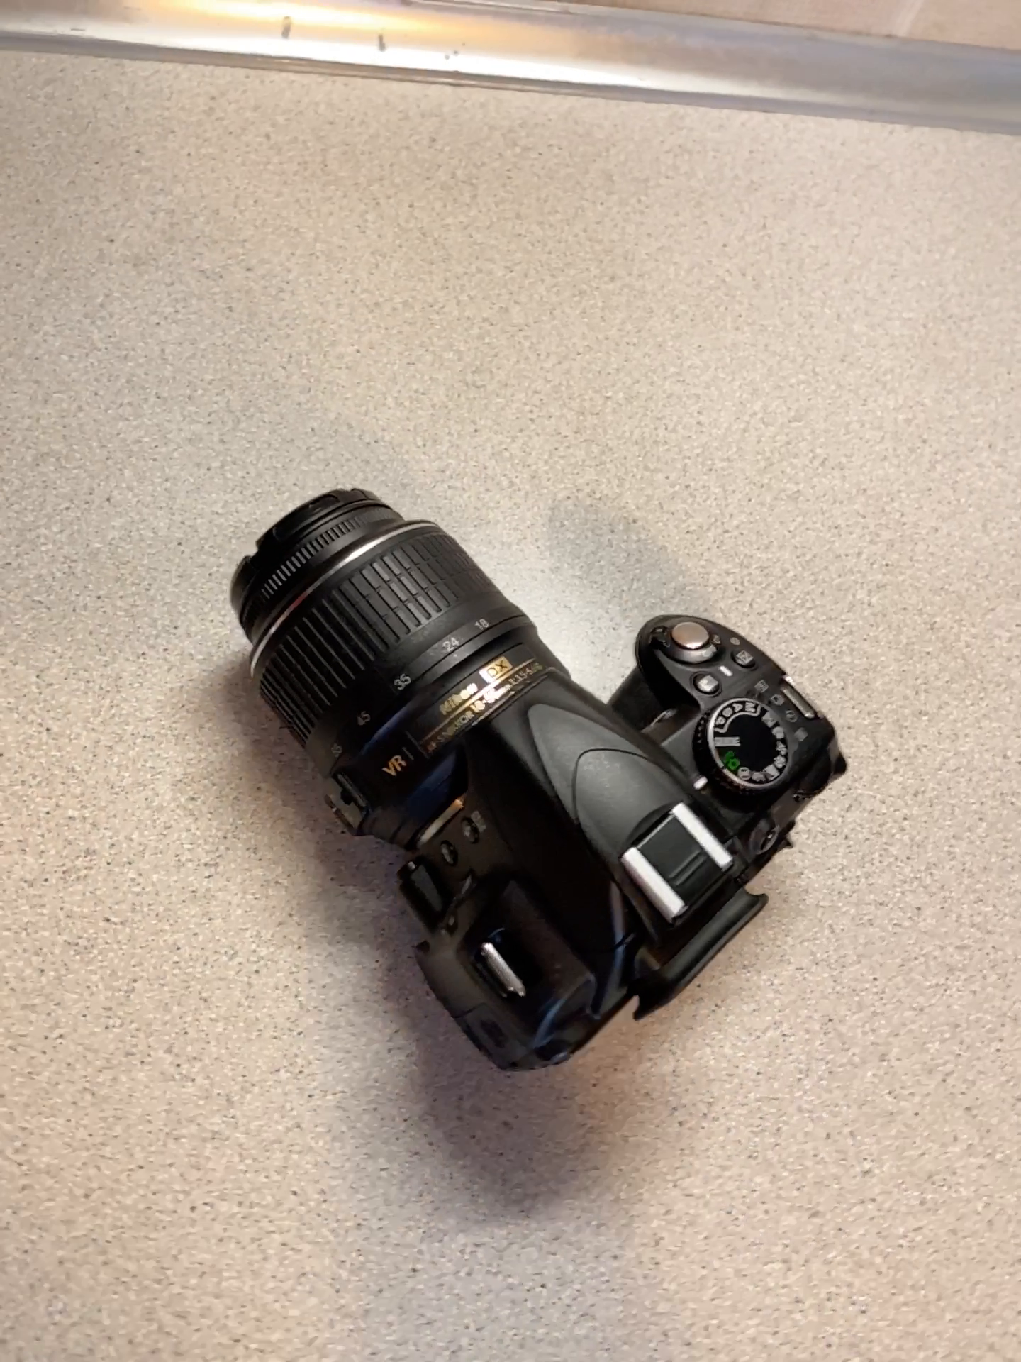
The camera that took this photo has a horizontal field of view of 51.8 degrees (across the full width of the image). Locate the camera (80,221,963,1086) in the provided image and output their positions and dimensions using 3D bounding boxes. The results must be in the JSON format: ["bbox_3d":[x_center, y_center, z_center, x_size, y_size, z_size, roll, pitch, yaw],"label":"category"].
[{"bbox_3d":[-0.003,-0.006,0.284,0.122,0.092,0.177,-37,80,-23],"label":"camera"}]
